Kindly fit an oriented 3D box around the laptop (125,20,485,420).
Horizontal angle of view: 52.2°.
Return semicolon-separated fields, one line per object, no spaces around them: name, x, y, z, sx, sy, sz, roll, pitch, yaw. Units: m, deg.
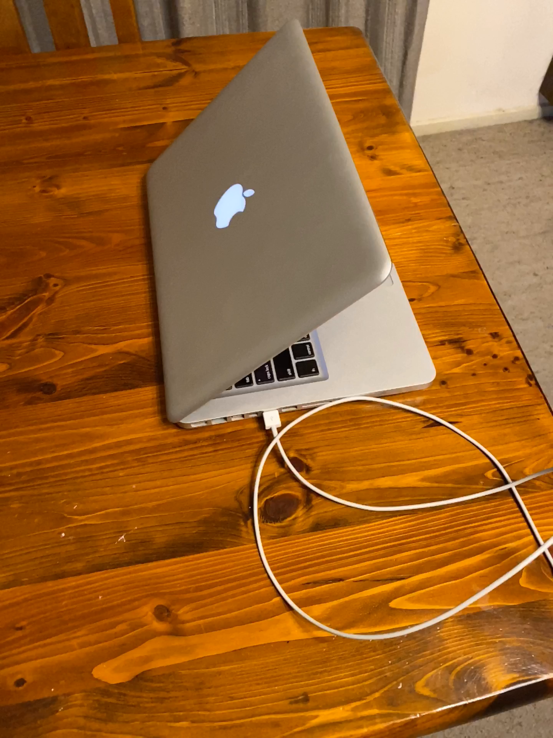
laptop;-0.001;-0.140;0.483;0.211;0.136;0.312;-9;57;-6
